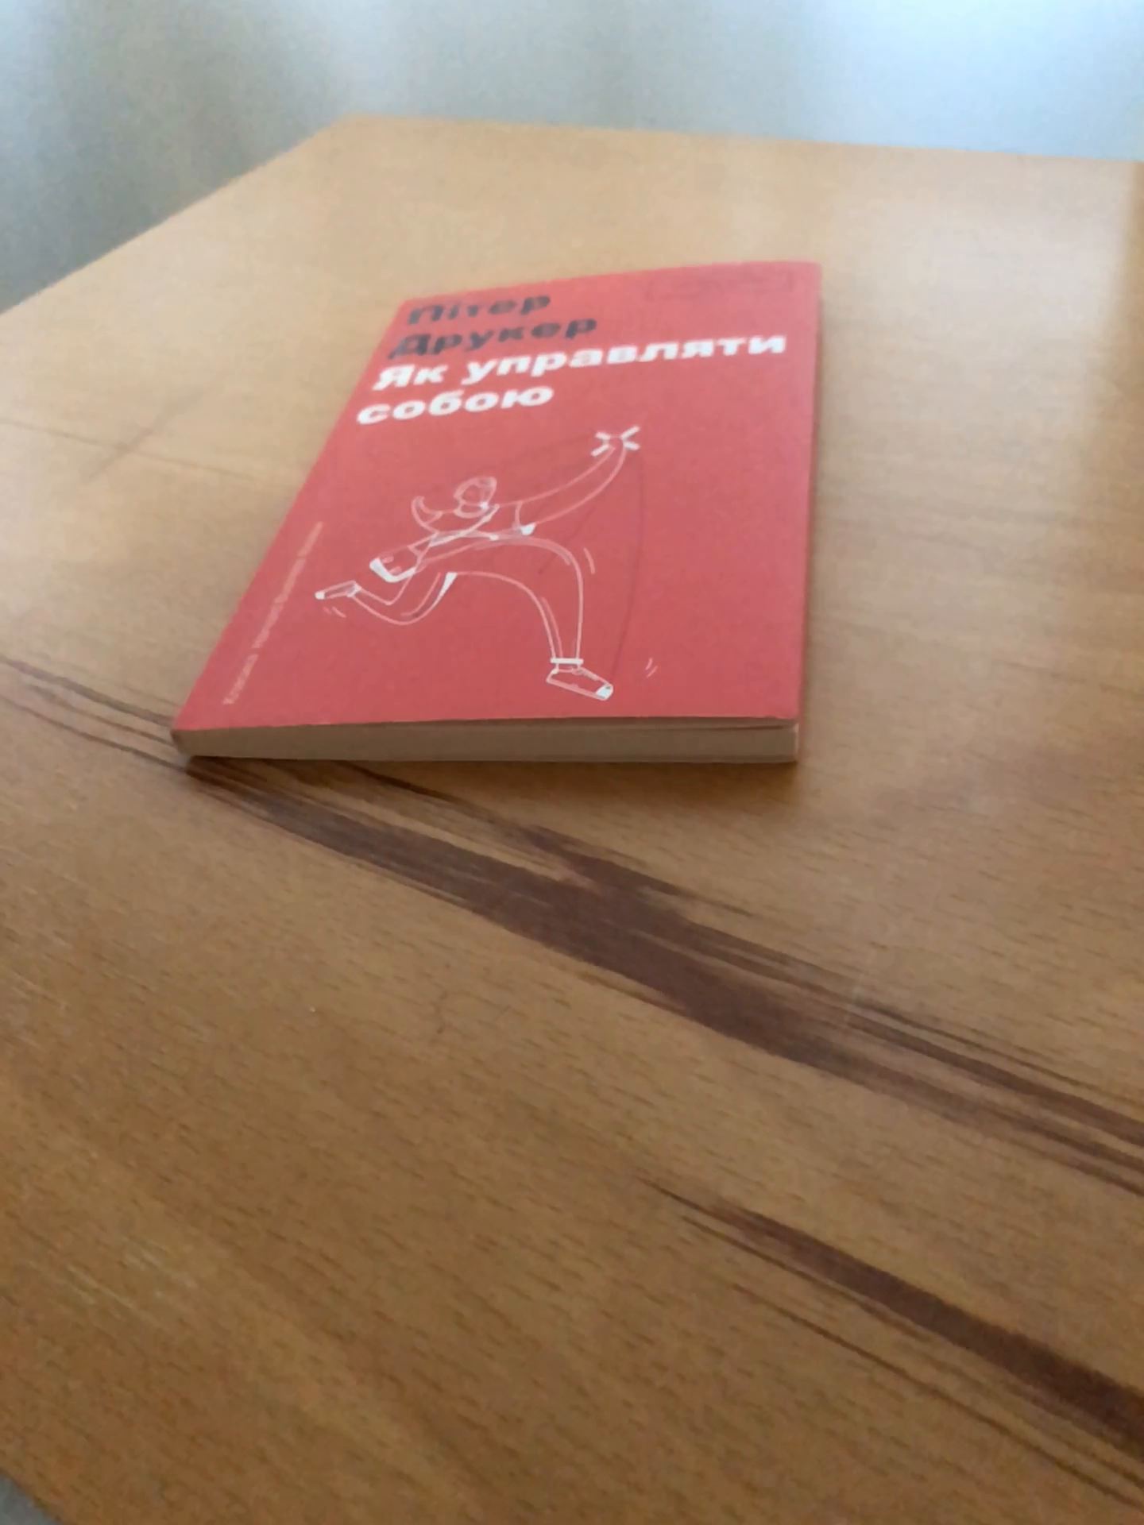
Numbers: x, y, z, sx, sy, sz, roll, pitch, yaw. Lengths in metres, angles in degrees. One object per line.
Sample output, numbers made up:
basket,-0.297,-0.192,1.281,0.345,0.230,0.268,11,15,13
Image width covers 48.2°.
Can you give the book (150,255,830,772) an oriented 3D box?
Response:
book,-0.004,-0.061,0.270,0.111,0.013,0.165,-1,44,14
